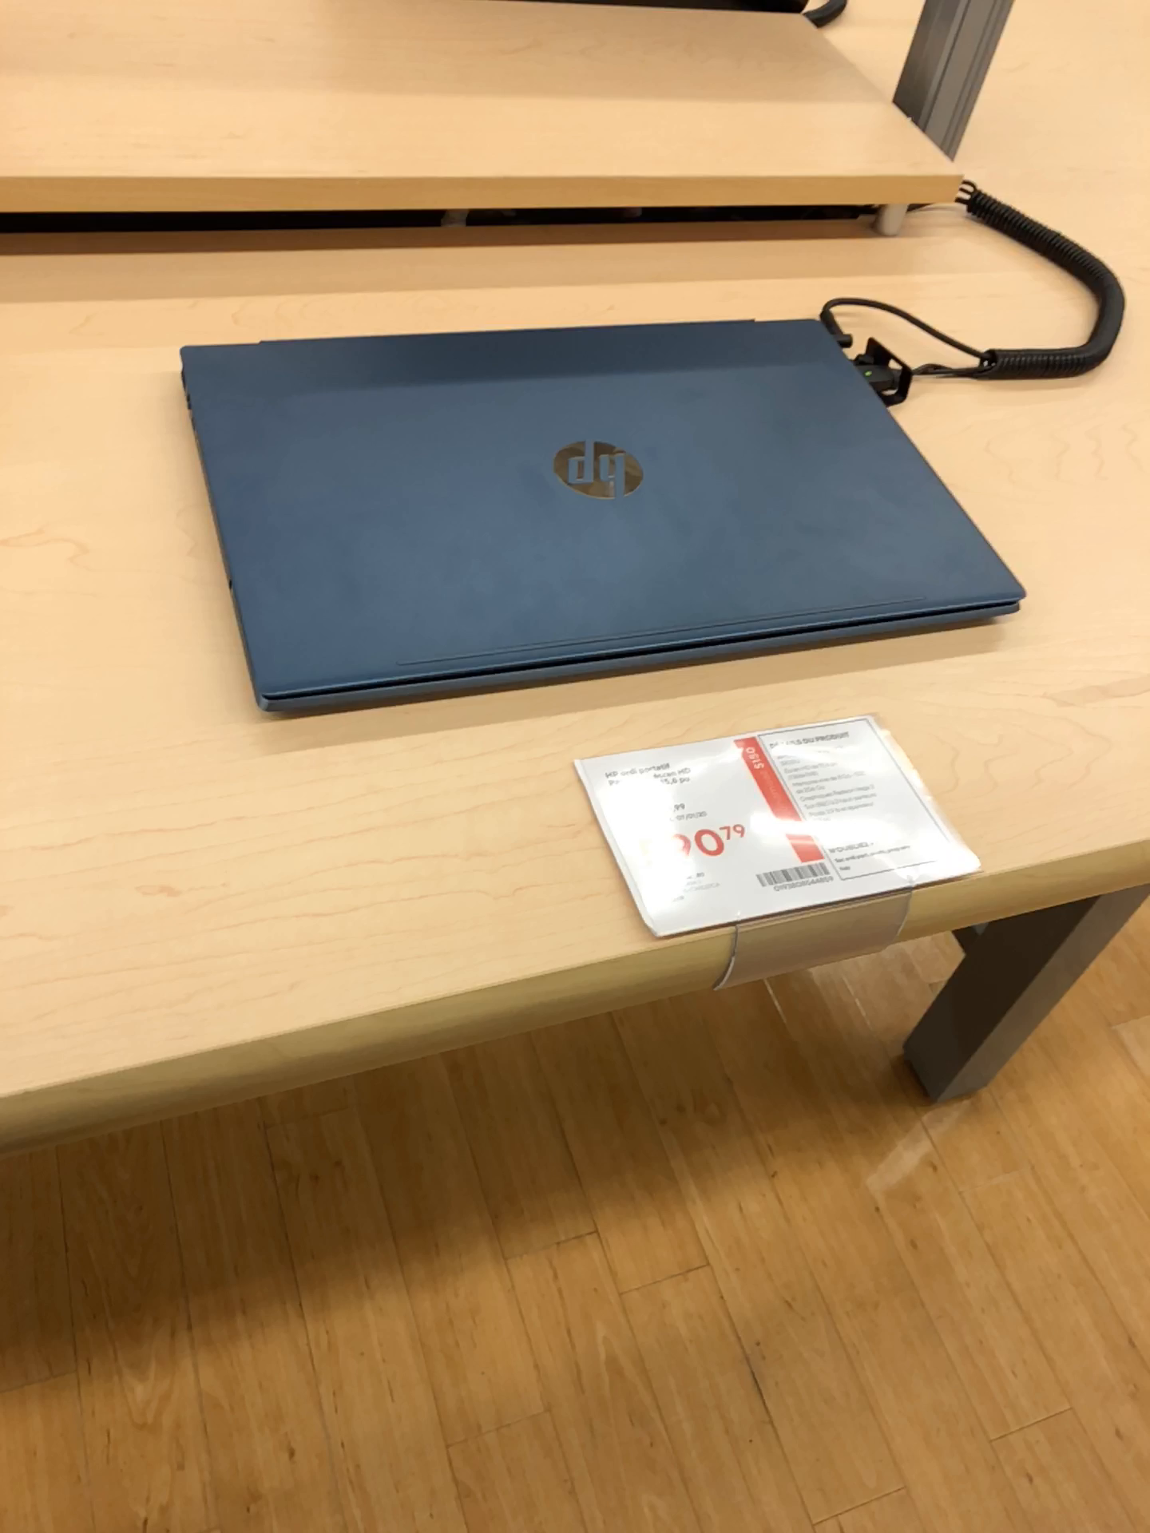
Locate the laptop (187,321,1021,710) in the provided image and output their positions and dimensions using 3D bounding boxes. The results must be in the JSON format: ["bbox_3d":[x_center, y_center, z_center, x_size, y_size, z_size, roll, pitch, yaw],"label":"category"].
[{"bbox_3d":[0.011,-0.139,0.617,0.353,0.012,0.220,-9,56,-17],"label":"laptop"}]
